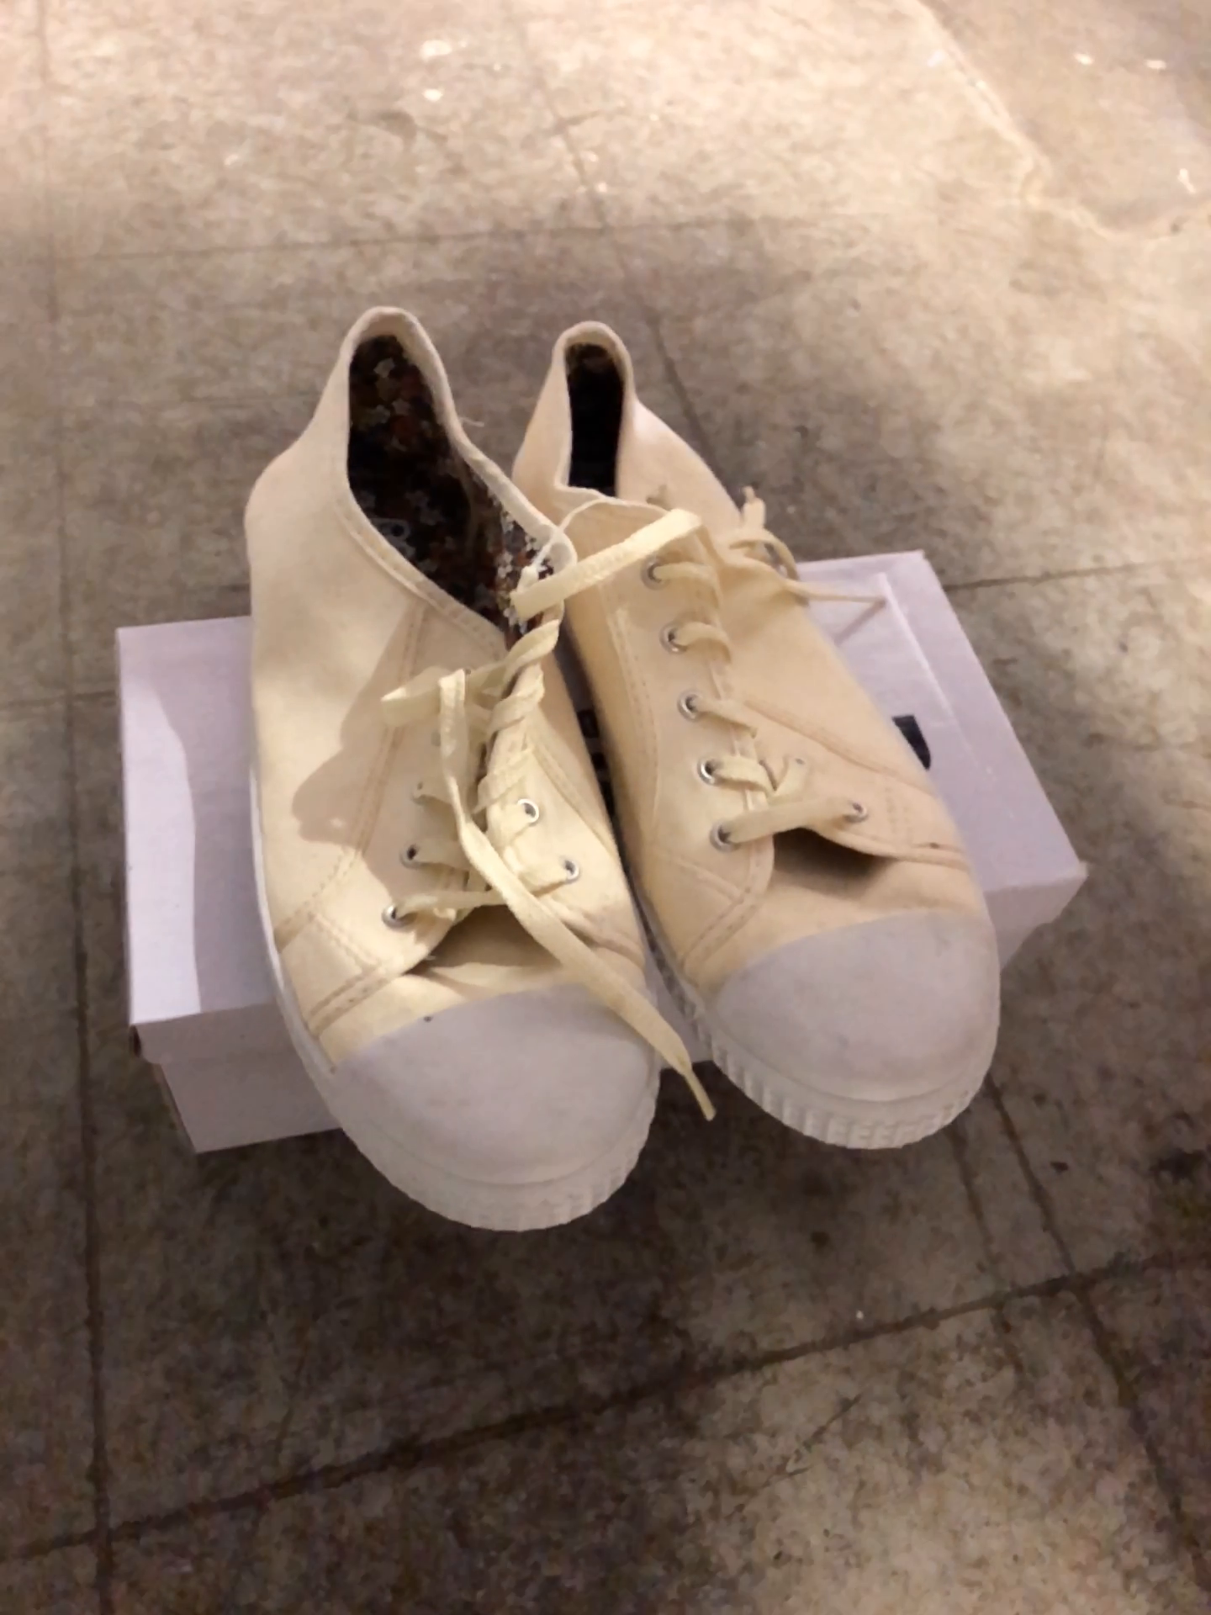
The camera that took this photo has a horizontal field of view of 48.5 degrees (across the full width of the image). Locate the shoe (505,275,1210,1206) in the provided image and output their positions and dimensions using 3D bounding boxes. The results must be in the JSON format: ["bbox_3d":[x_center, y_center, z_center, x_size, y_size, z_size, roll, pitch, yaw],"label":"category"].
[{"bbox_3d":[0.050,-0.035,0.372,0.100,0.079,0.251,-9,56,-13],"label":"shoe"}]

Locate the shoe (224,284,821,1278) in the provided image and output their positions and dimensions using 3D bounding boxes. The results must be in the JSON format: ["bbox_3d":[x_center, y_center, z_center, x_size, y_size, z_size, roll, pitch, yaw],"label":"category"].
[{"bbox_3d":[-0.038,-0.026,0.360,0.090,0.079,0.262,-9,56,-13],"label":"shoe"}]
